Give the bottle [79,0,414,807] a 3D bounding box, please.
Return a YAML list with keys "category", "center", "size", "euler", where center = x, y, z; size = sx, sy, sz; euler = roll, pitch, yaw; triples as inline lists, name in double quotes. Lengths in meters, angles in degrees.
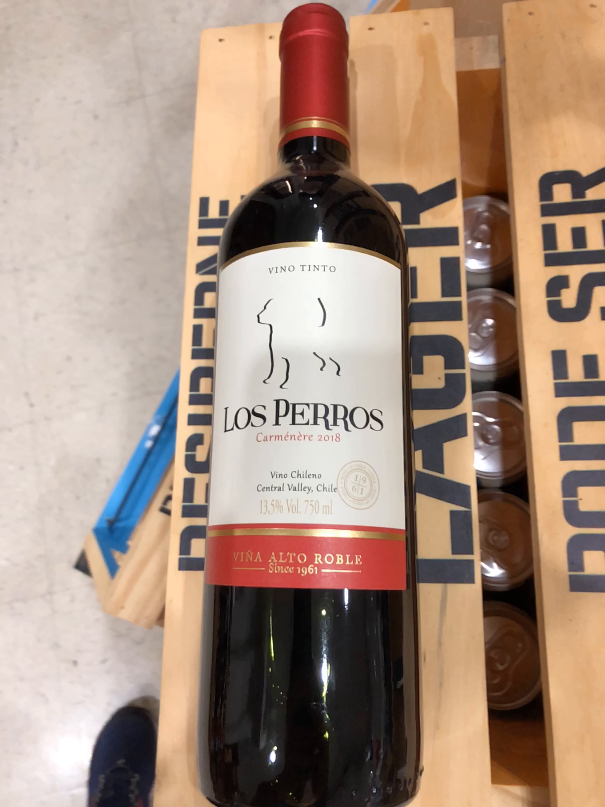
- category: "bottle"
  center: [-0.011, -0.024, 0.242]
  size: [0.090, 0.060, 0.310]
  euler: [-1, 77, 6]
